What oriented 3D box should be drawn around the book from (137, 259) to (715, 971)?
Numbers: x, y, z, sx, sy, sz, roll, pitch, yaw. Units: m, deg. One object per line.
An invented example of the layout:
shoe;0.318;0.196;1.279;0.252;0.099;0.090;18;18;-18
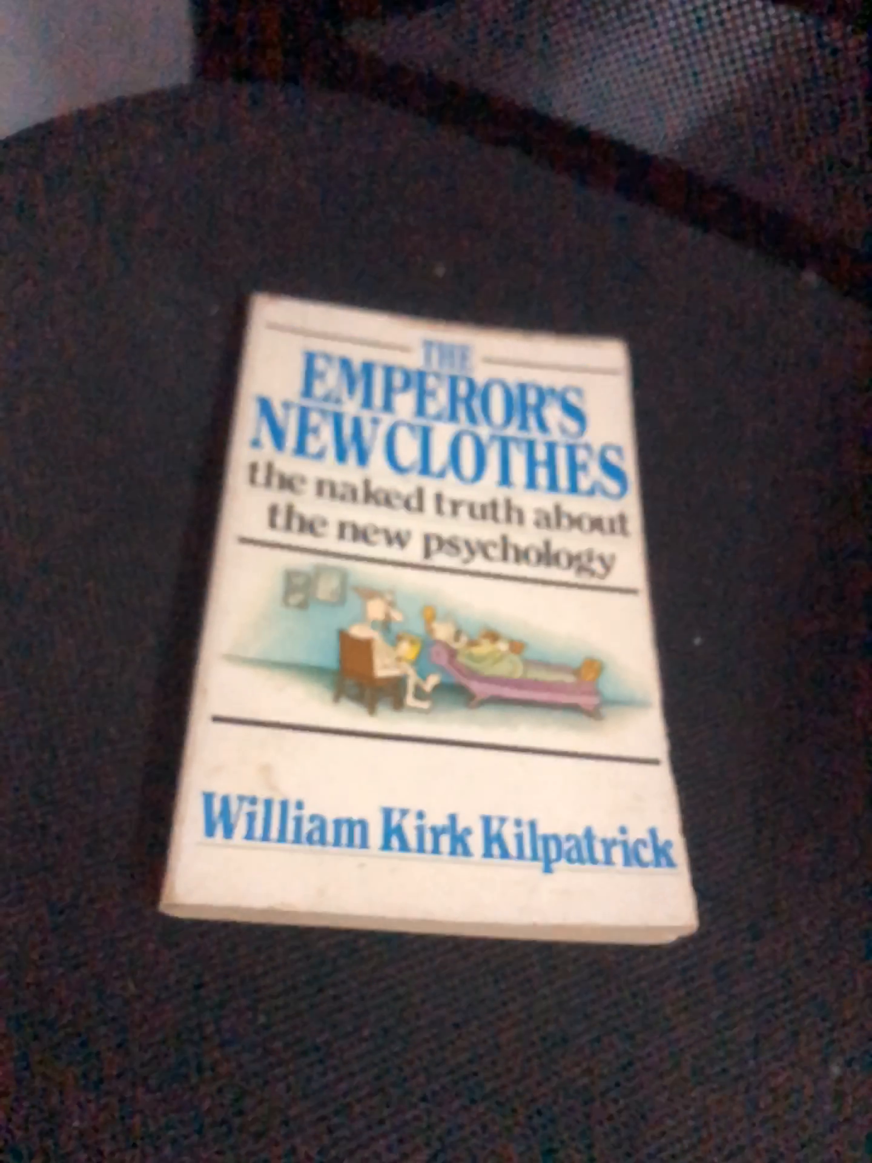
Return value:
book;0.001;-0.005;0.312;0.144;0.020;0.231;8;56;-10
